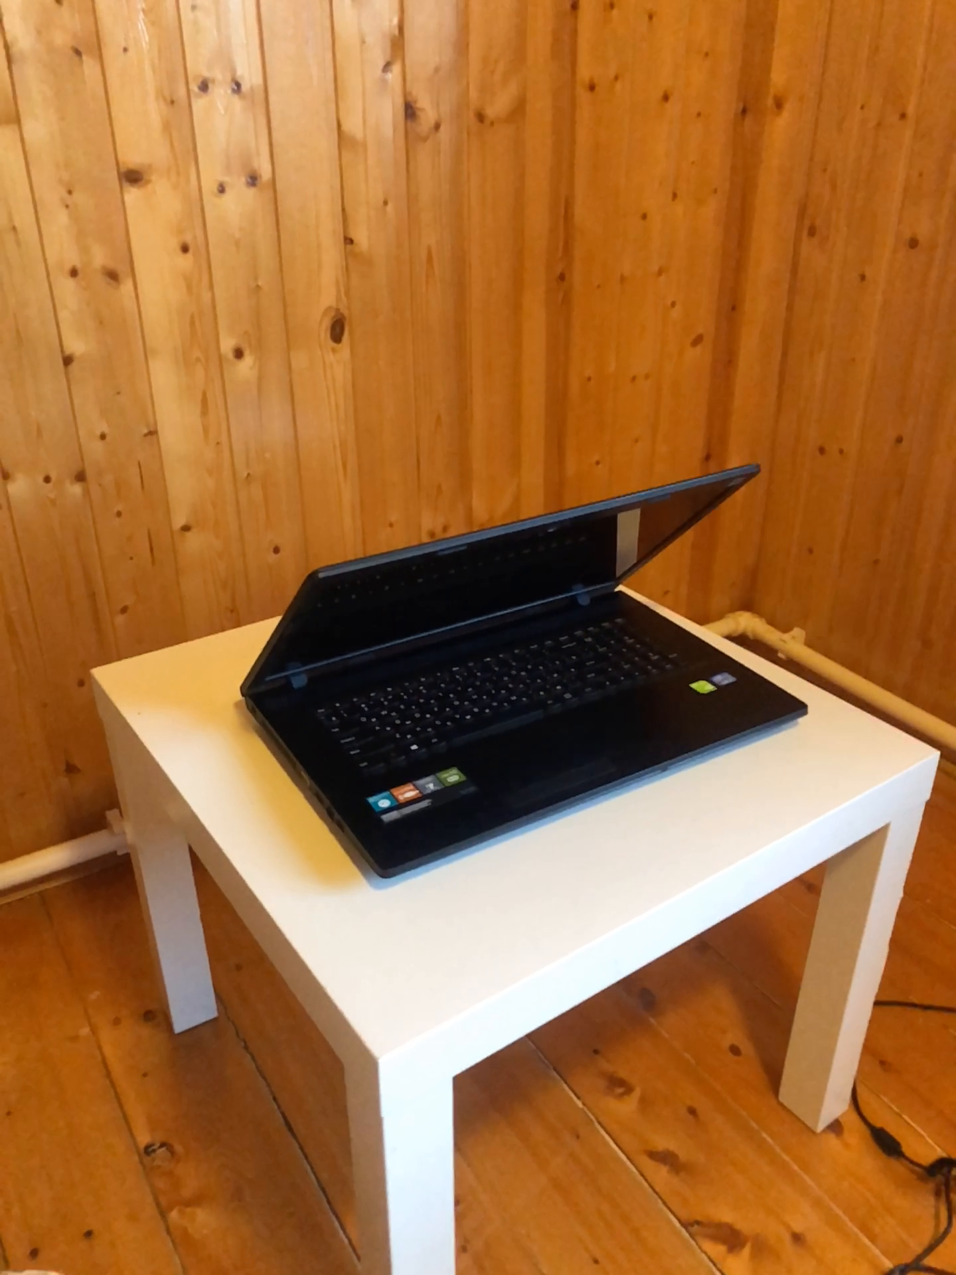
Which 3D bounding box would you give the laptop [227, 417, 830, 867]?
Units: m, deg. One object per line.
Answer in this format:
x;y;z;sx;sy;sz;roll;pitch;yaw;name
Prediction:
0.041;-0.029;0.847;0.402;0.183;0.252;-15;32;-29;laptop
